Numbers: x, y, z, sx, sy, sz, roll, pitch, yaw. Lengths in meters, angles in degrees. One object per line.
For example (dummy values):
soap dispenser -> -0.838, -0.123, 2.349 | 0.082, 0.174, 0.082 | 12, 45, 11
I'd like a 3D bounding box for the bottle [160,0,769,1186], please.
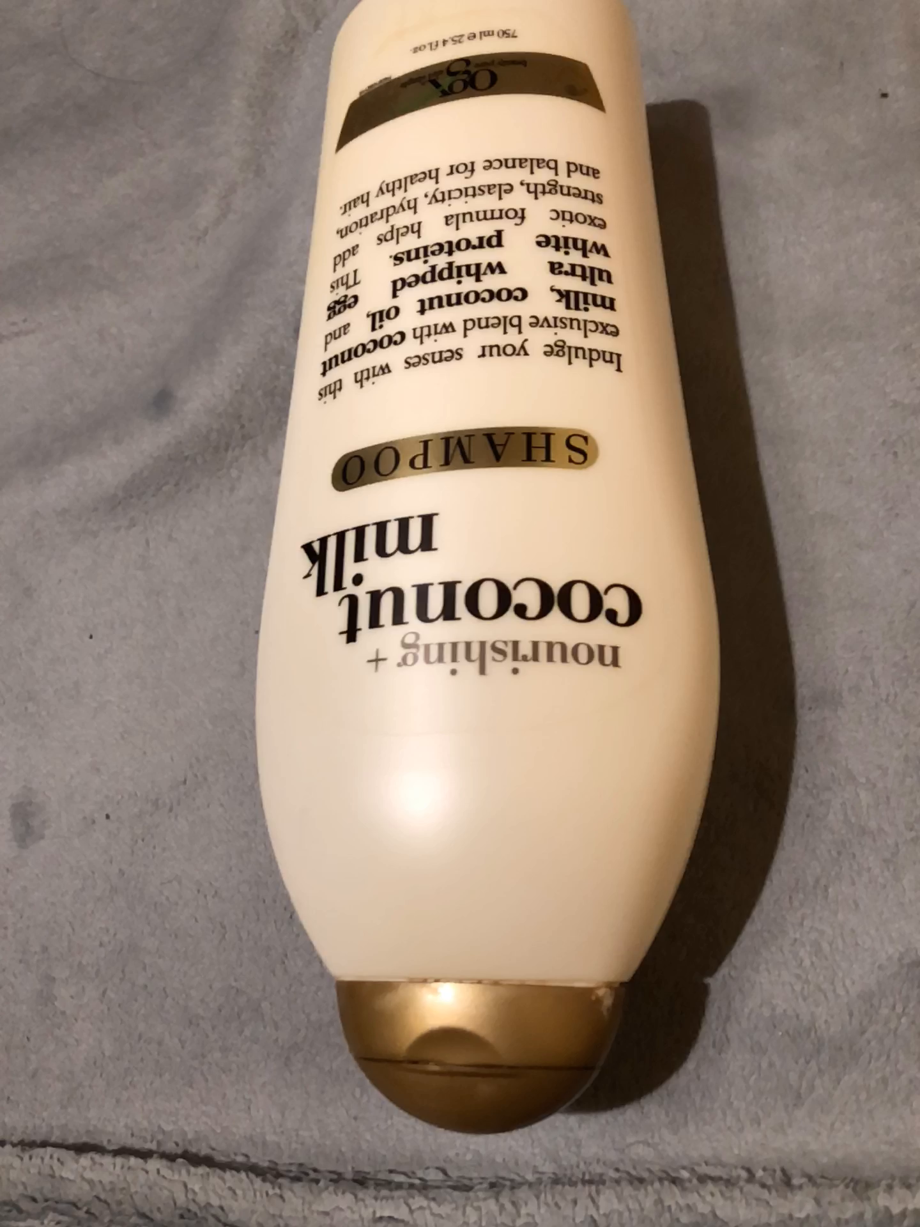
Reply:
bottle -> 0.006, -0.028, 0.185 | 0.080, 0.040, 0.220 | -4, 70, 17
